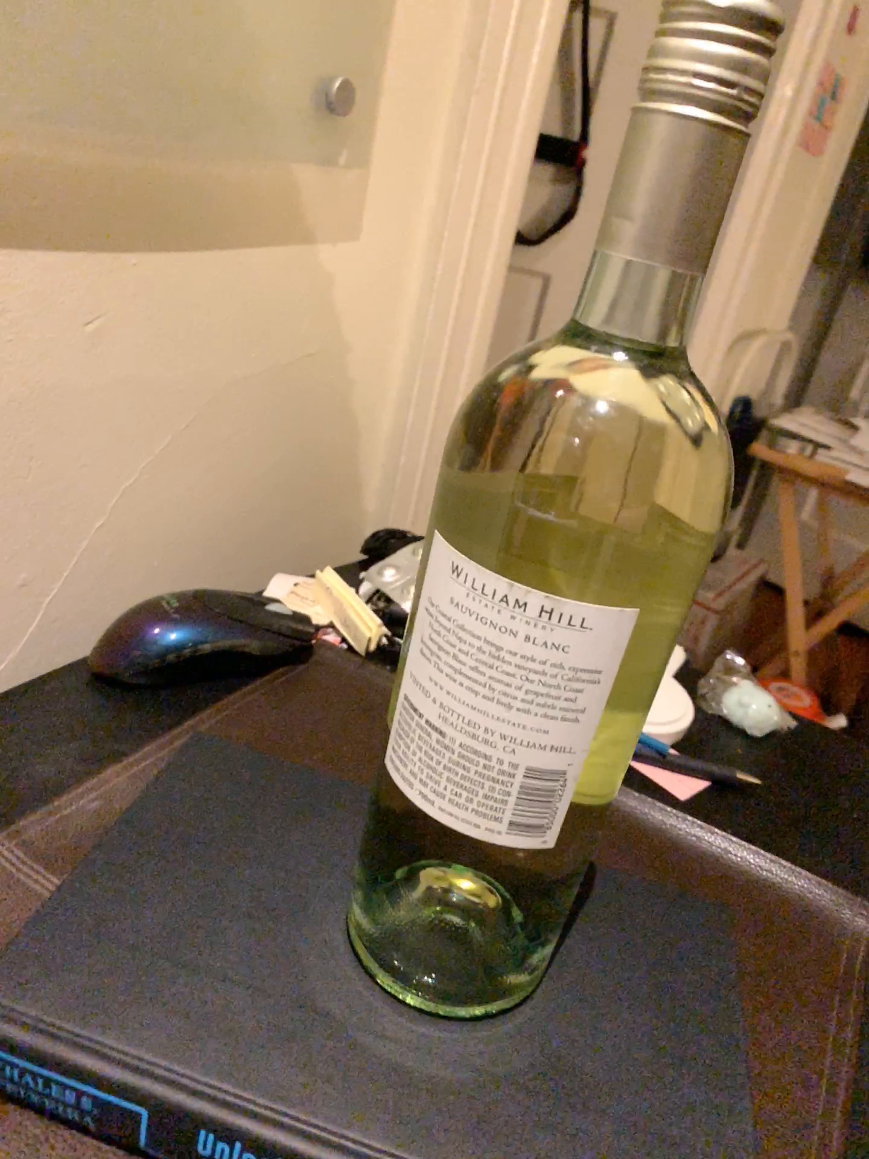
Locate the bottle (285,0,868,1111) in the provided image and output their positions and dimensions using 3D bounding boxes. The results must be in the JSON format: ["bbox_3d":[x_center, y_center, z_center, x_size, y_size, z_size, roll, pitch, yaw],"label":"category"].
[{"bbox_3d":[0.039,0.001,0.265,0.090,0.298,0.090,11,25,-5],"label":"bottle"}]
